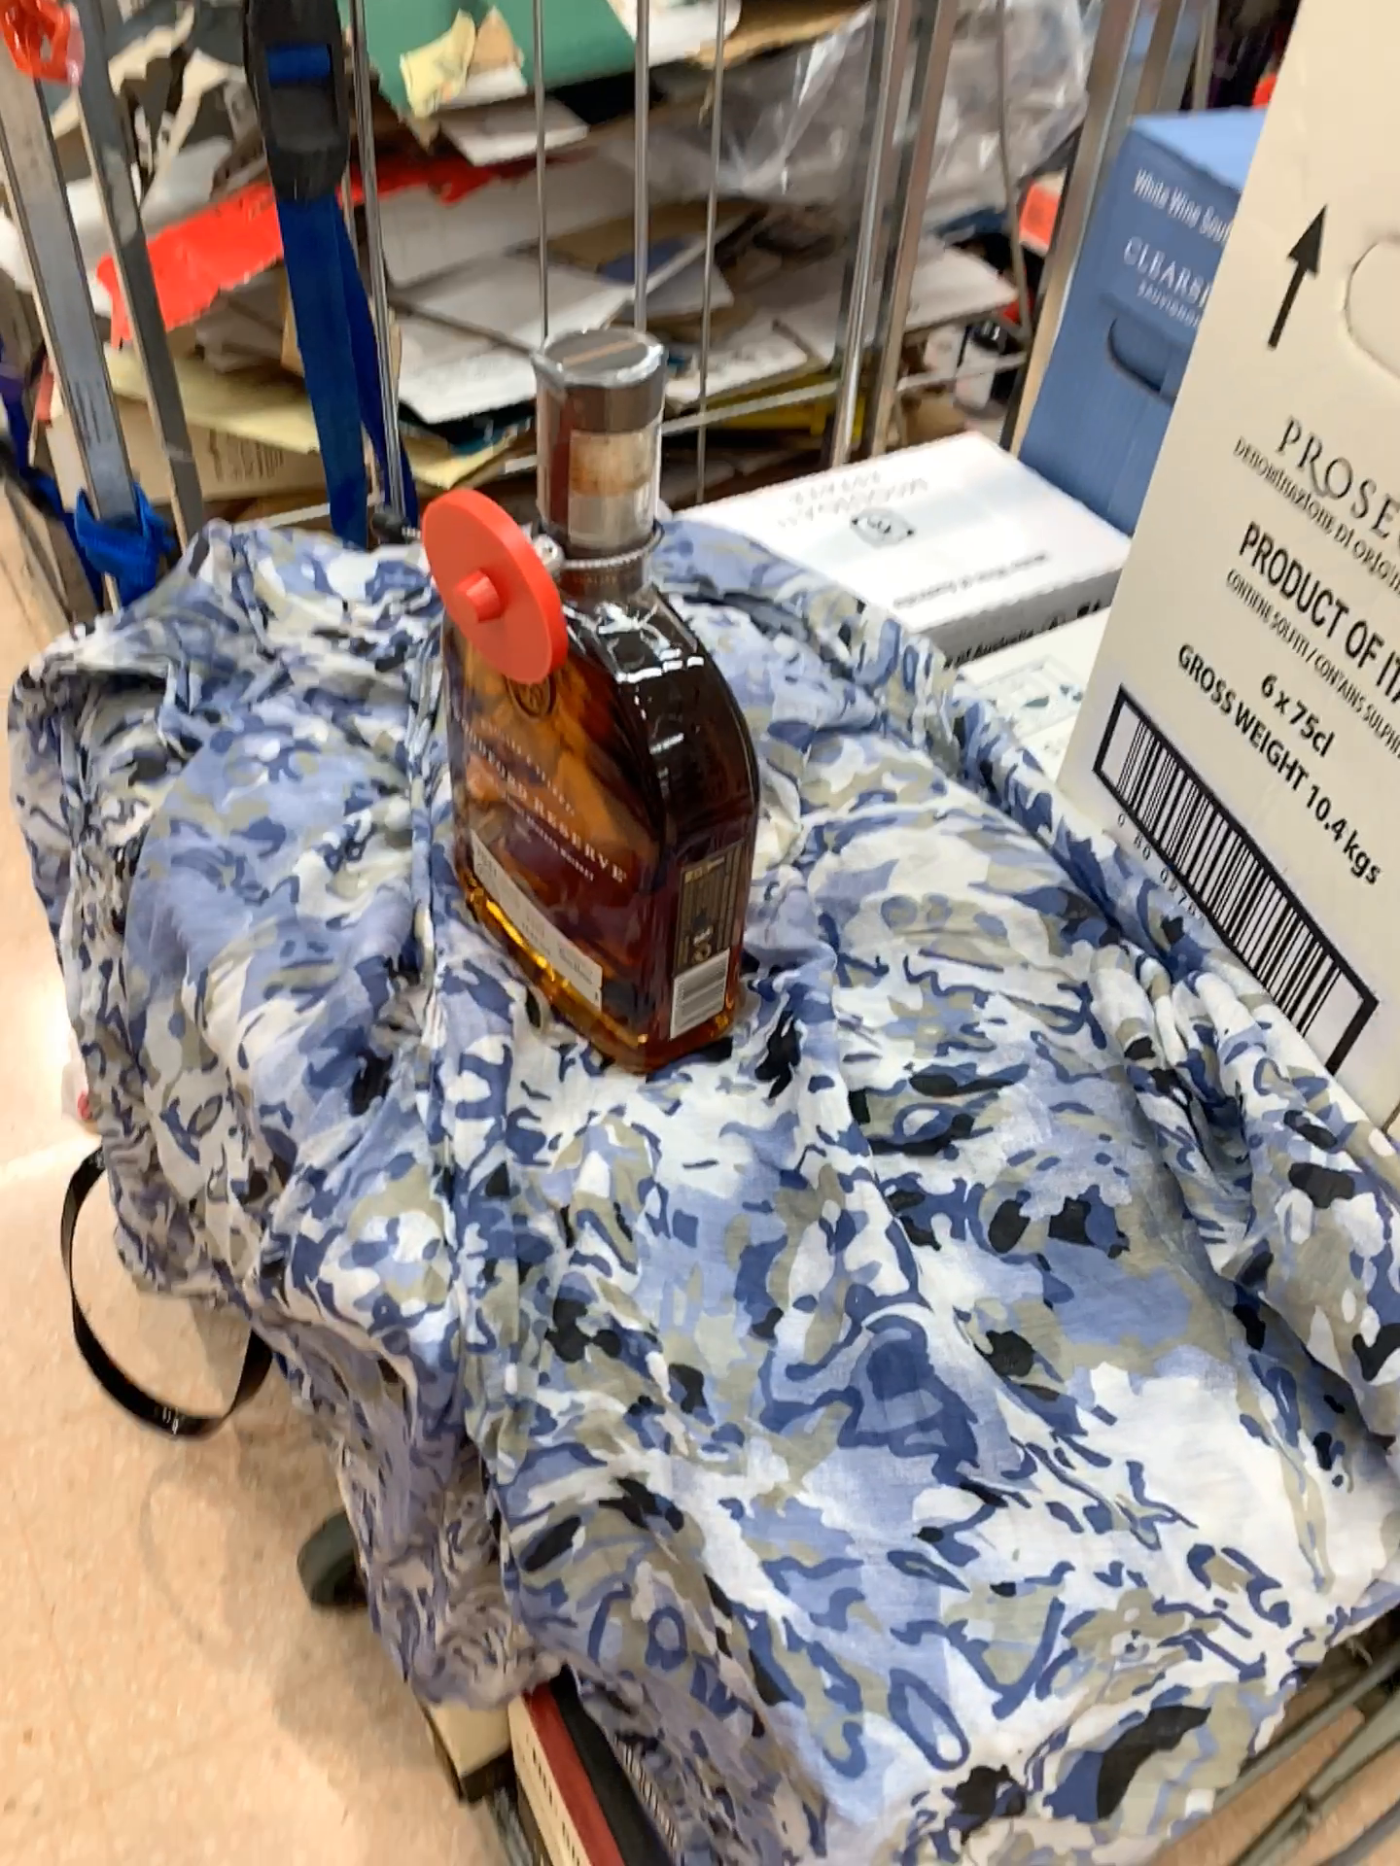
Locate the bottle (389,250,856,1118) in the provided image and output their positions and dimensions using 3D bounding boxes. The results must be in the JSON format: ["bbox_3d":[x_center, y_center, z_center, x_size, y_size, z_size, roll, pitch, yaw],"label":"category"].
[{"bbox_3d":[-0.035,-0.067,0.441,0.051,0.222,0.134,-25,53,-29],"label":"bottle"}]
